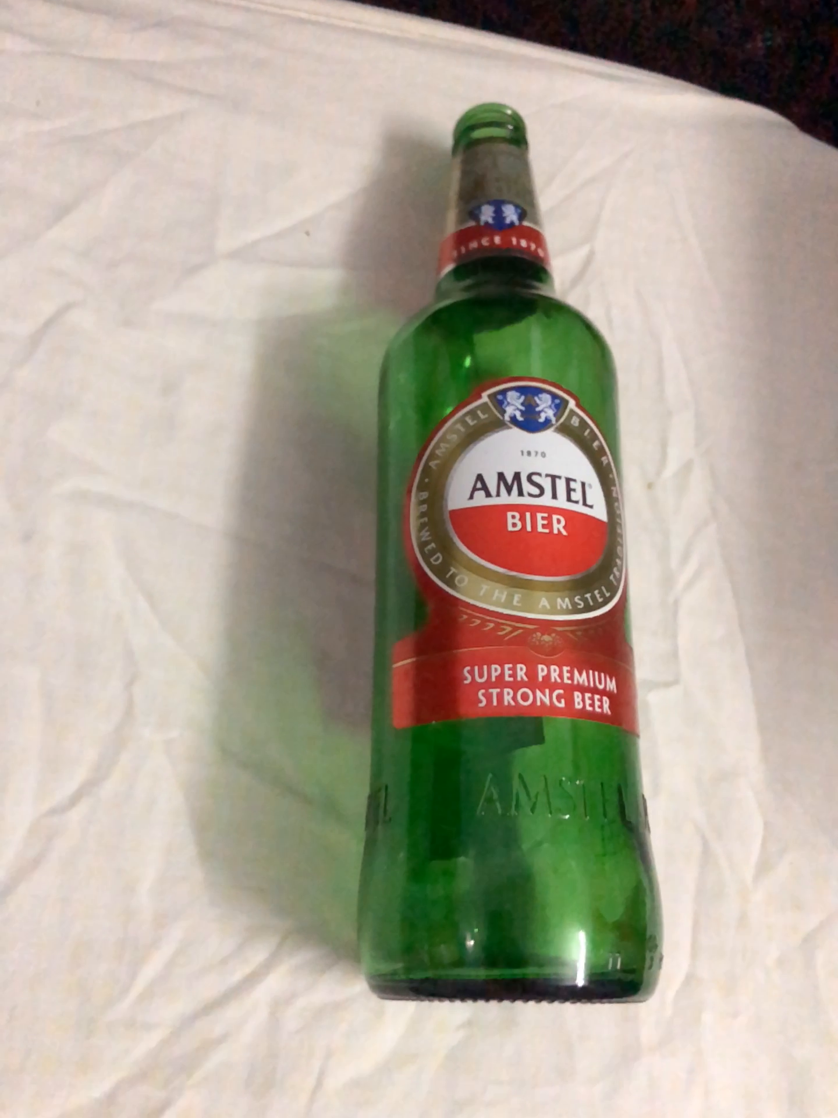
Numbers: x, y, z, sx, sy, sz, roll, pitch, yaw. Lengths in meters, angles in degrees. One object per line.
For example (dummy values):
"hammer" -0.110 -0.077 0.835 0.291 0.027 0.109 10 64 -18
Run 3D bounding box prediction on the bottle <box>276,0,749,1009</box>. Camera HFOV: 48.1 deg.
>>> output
"bottle" 0.013 -0.057 0.301 0.090 0.080 0.360 6 63 -13
